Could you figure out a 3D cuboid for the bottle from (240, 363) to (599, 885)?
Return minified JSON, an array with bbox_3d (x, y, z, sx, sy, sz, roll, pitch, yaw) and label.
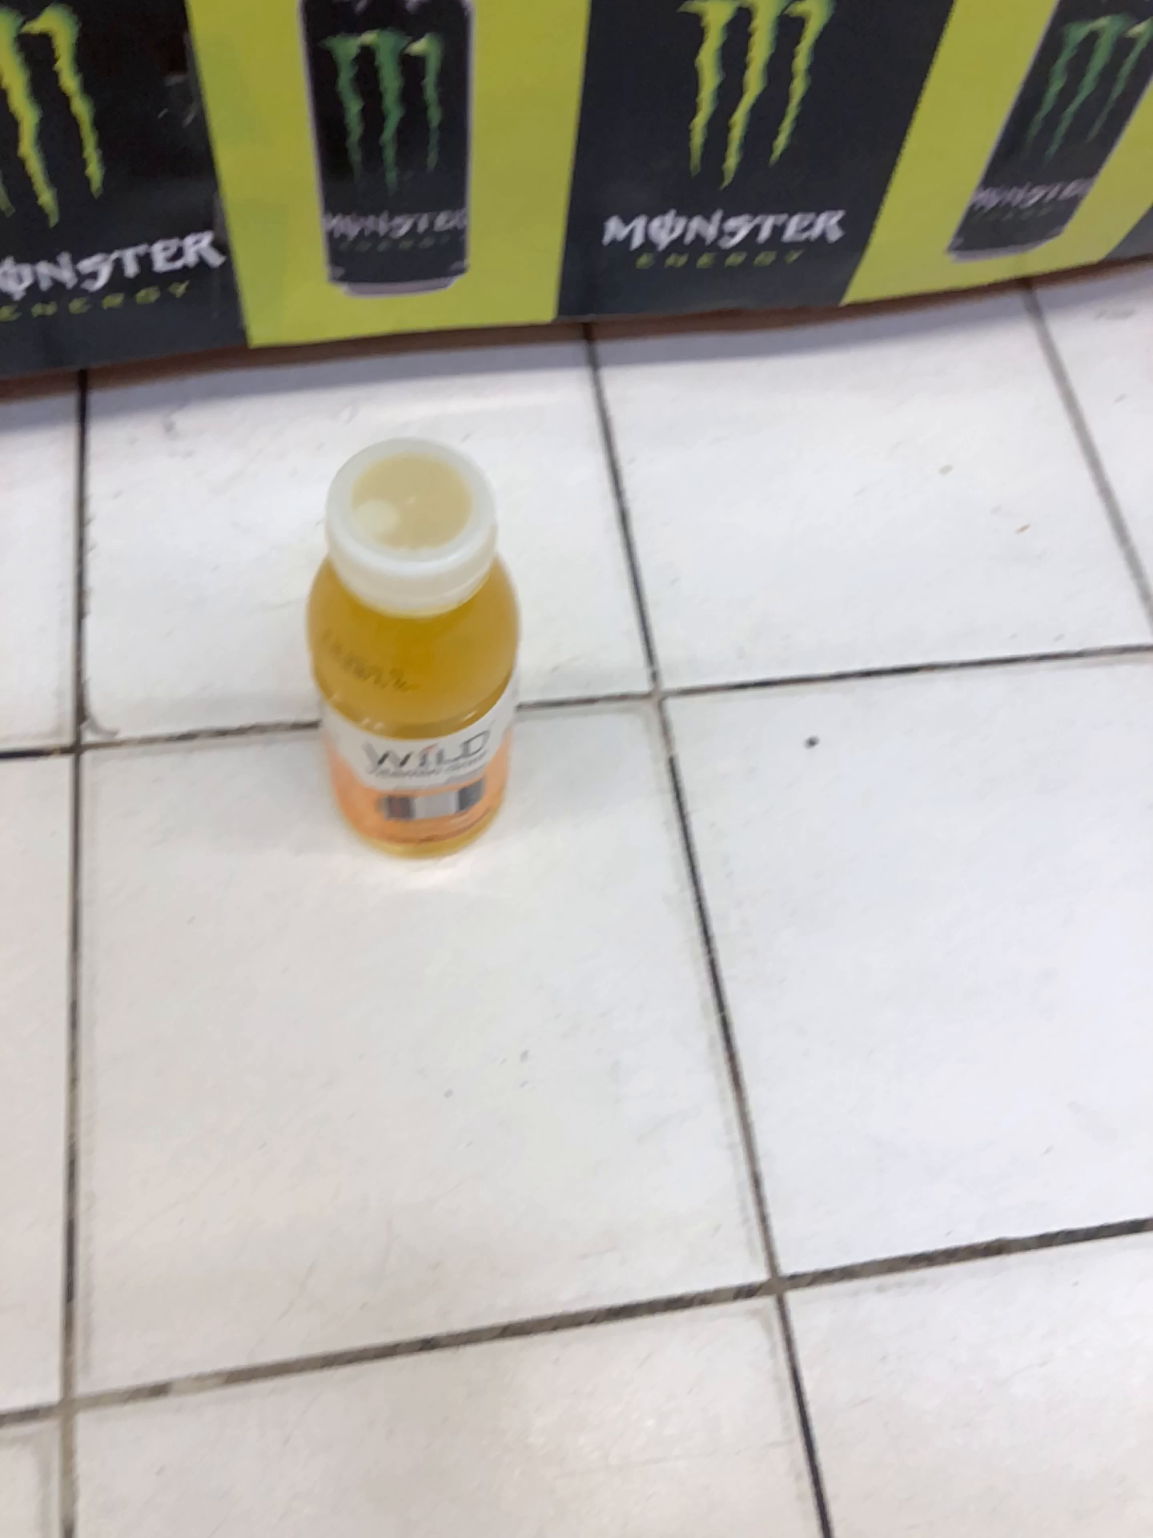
[{"bbox_3d":[-0.043,-0.031,0.349,0.070,0.139,0.070,3,64,-5],"label":"bottle"}]
